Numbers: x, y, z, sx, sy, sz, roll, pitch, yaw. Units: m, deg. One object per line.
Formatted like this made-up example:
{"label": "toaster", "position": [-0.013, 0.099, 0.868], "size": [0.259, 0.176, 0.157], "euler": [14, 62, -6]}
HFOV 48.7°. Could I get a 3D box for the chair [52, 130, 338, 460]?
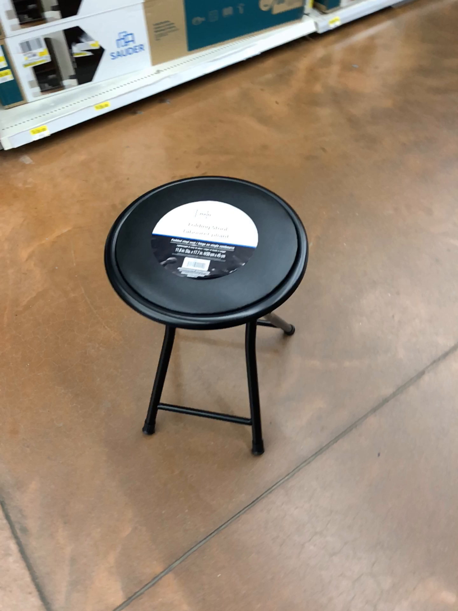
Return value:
{"label": "chair", "position": [-0.021, -0.003, 0.835], "size": [0.320, 0.399, 0.331], "euler": [7, 53, 6]}
